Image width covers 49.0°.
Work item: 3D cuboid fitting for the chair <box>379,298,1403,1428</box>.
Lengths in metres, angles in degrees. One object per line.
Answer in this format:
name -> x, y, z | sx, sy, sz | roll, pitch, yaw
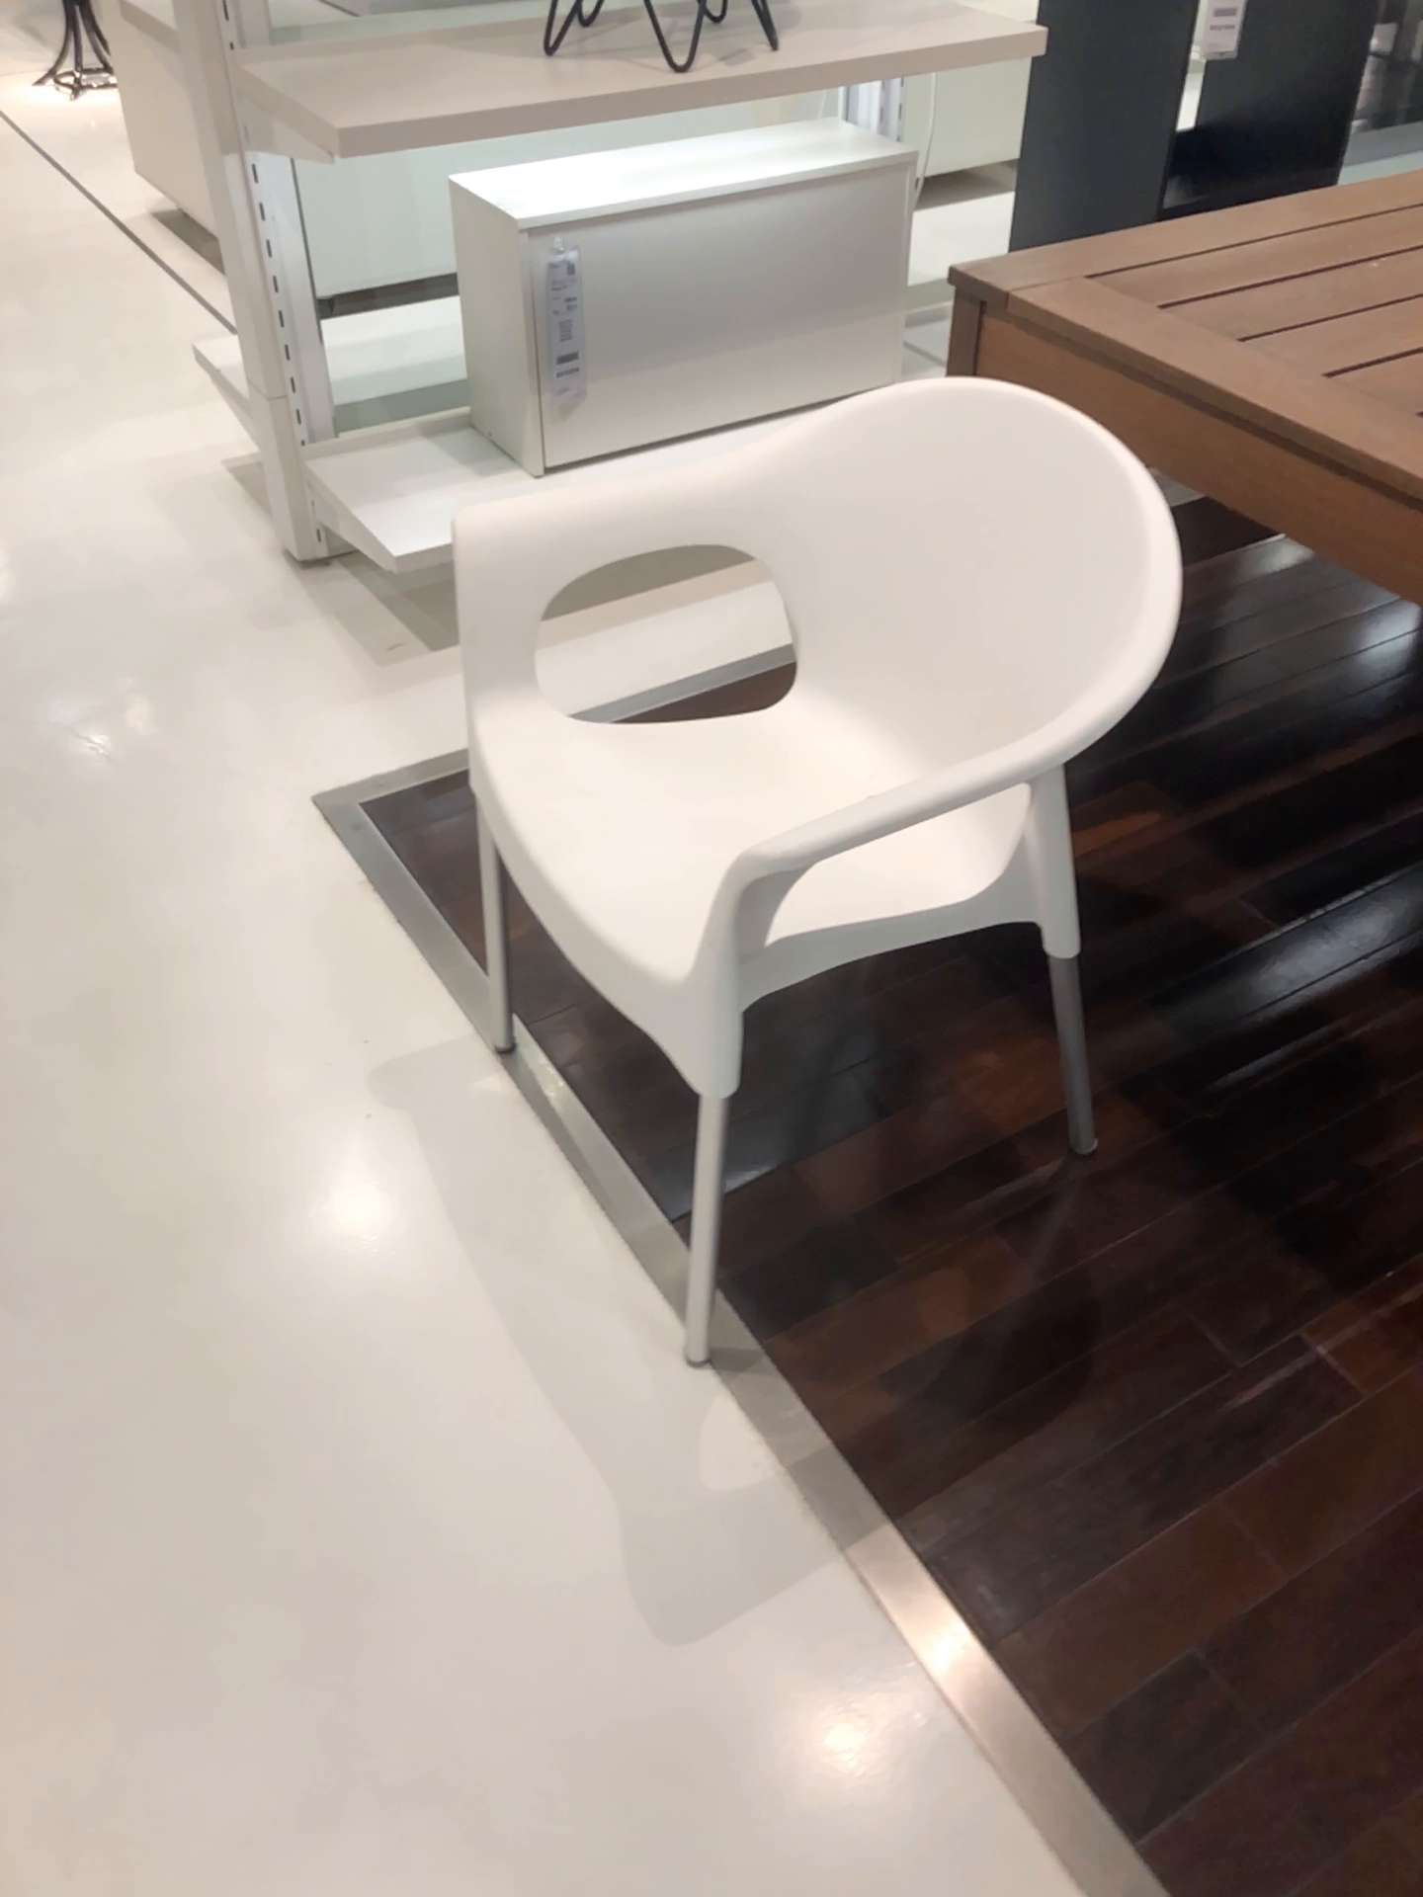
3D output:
chair -> 0.112, -0.106, 1.436 | 0.561, 0.704, 0.583 | -20, 44, -22
